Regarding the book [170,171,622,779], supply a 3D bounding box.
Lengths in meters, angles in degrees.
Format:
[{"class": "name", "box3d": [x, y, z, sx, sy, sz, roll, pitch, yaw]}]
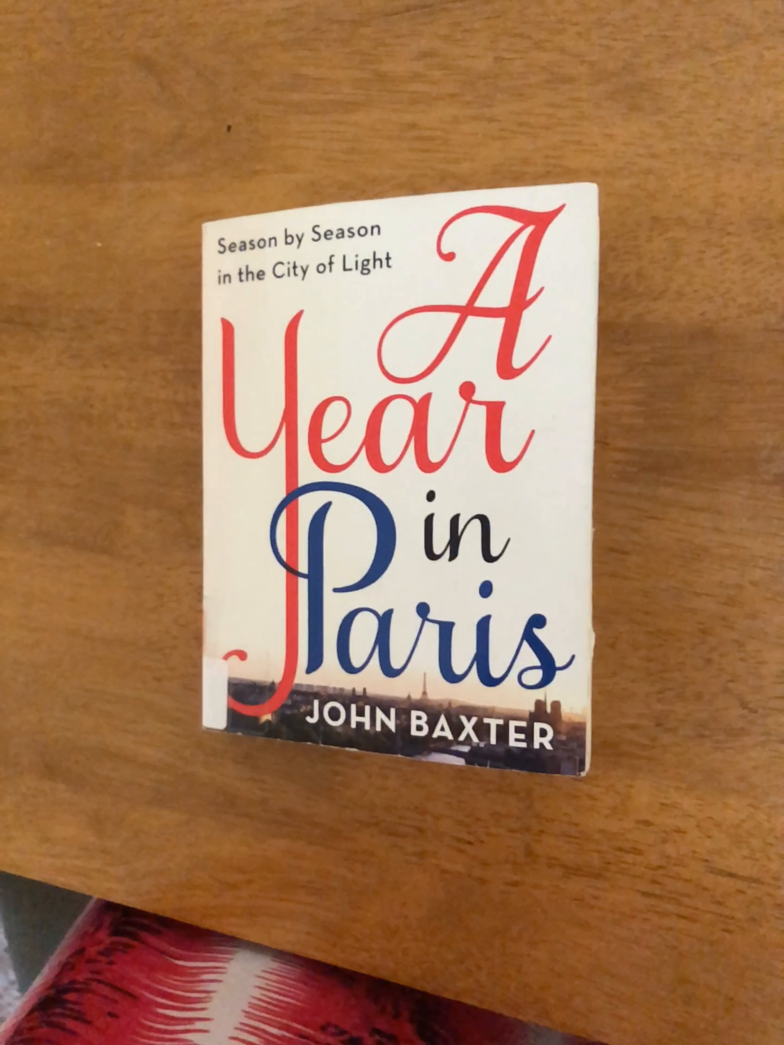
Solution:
[{"class": "book", "box3d": [-0.001, -0.015, 0.305, 0.150, 0.040, 0.182, 2, 93, 19]}]
